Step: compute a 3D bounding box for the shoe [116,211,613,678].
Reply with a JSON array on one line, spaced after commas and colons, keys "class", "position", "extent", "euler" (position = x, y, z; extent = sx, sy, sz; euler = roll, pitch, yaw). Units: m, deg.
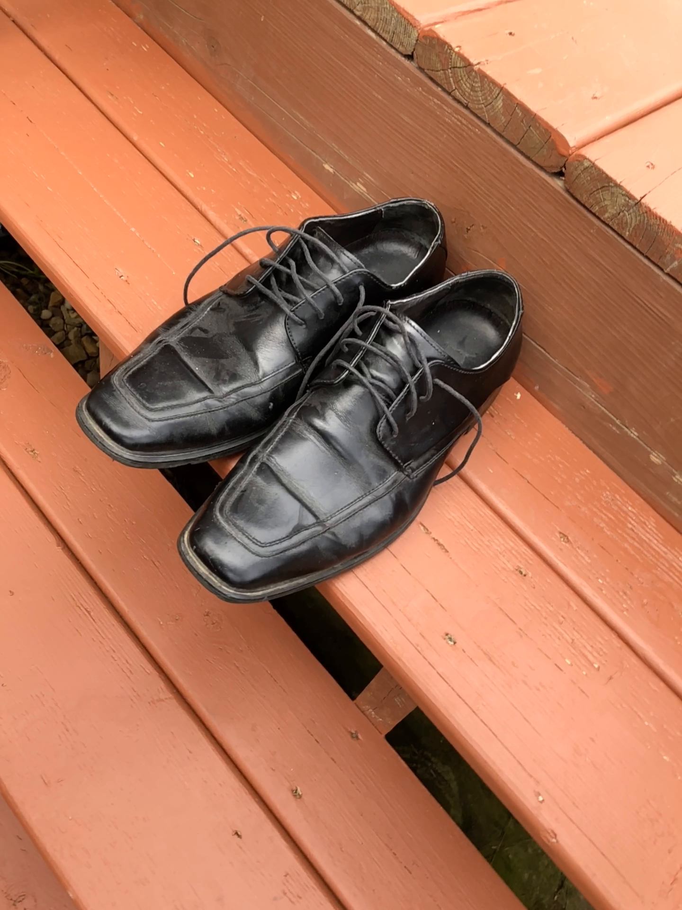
[{"class": "shoe", "position": [0.026, -0.026, 0.509], "extent": [0.130, 0.110, 0.331], "euler": [43, 56, 13]}]

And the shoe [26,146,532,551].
[{"class": "shoe", "position": [-0.031, -0.092, 0.540], "extent": [0.331, 0.110, 0.130], "euler": [-34, 72, -31]}]
